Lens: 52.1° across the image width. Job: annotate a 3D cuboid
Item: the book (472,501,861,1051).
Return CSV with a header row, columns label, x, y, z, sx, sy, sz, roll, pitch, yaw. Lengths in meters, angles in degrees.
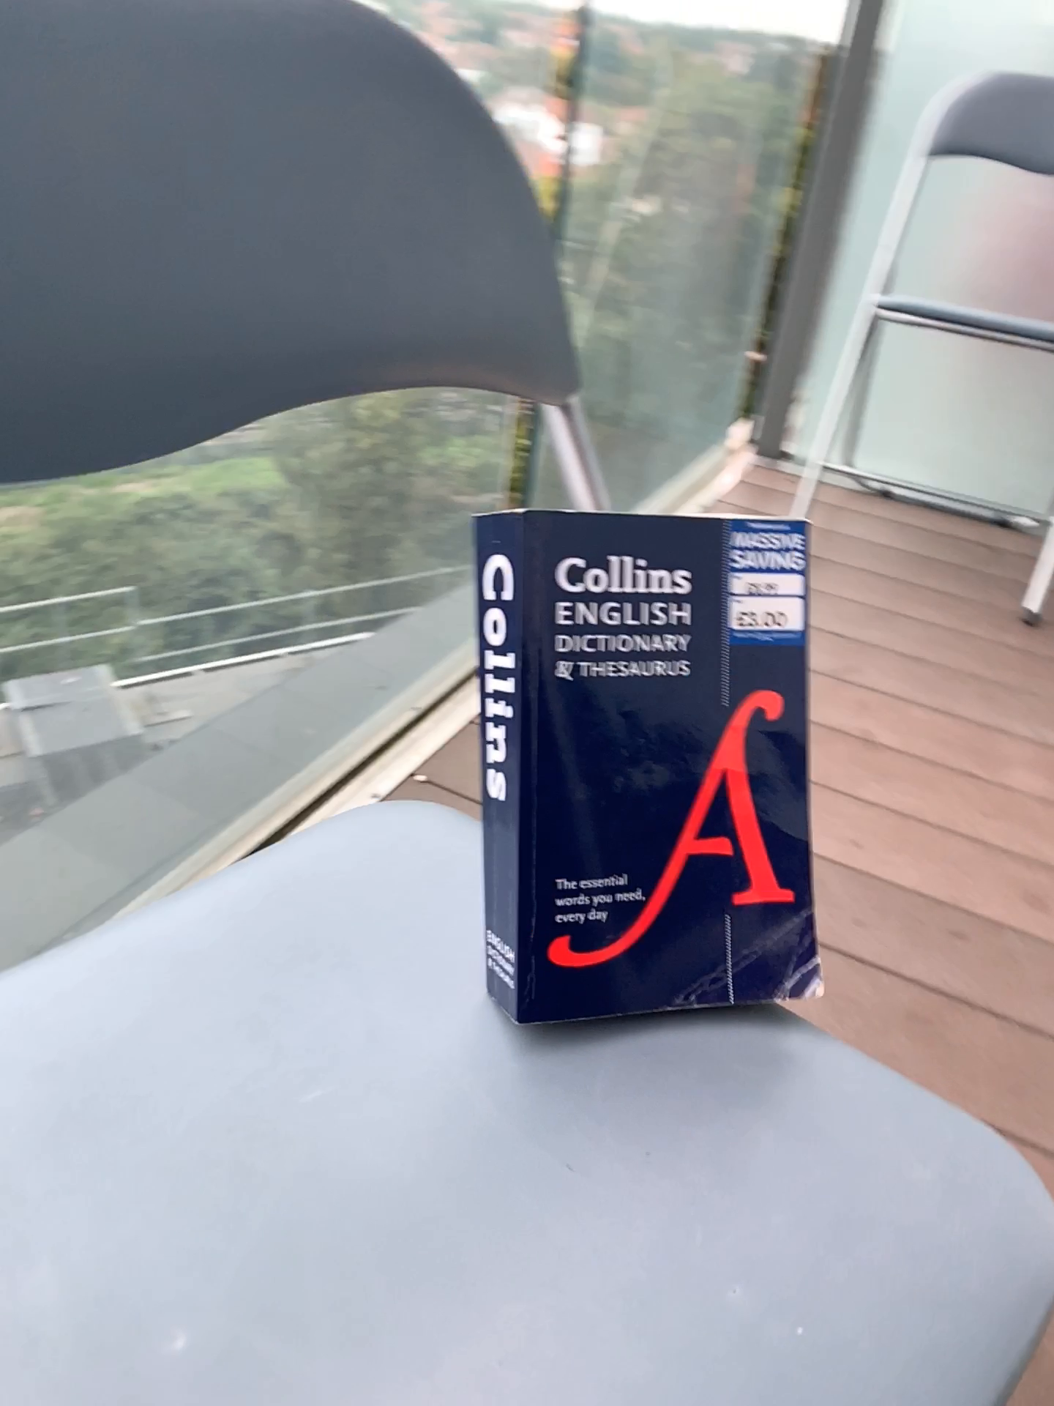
label,x,y,z,sx,sy,sz,roll,pitch,yaw
book,0.053,0.023,0.434,0.140,0.200,0.060,-2,6,-14
